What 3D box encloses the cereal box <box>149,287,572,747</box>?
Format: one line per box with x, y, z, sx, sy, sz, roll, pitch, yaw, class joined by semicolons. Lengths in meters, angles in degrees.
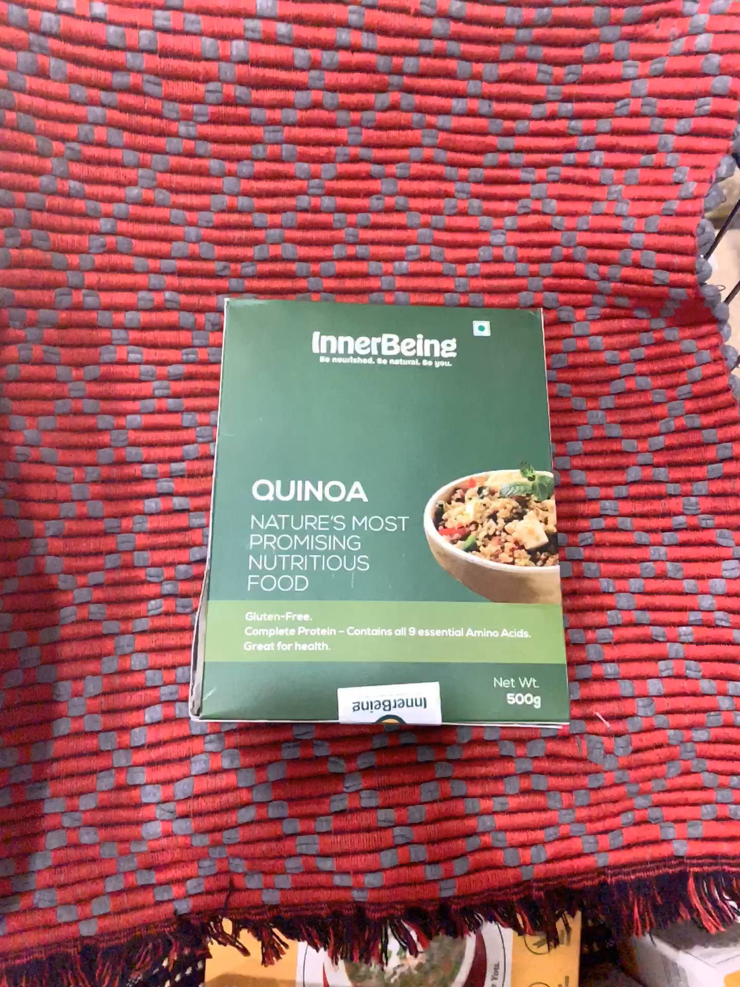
-0.003;0.008;0.313;0.150;0.040;0.180;1;75;-1;cereal box
